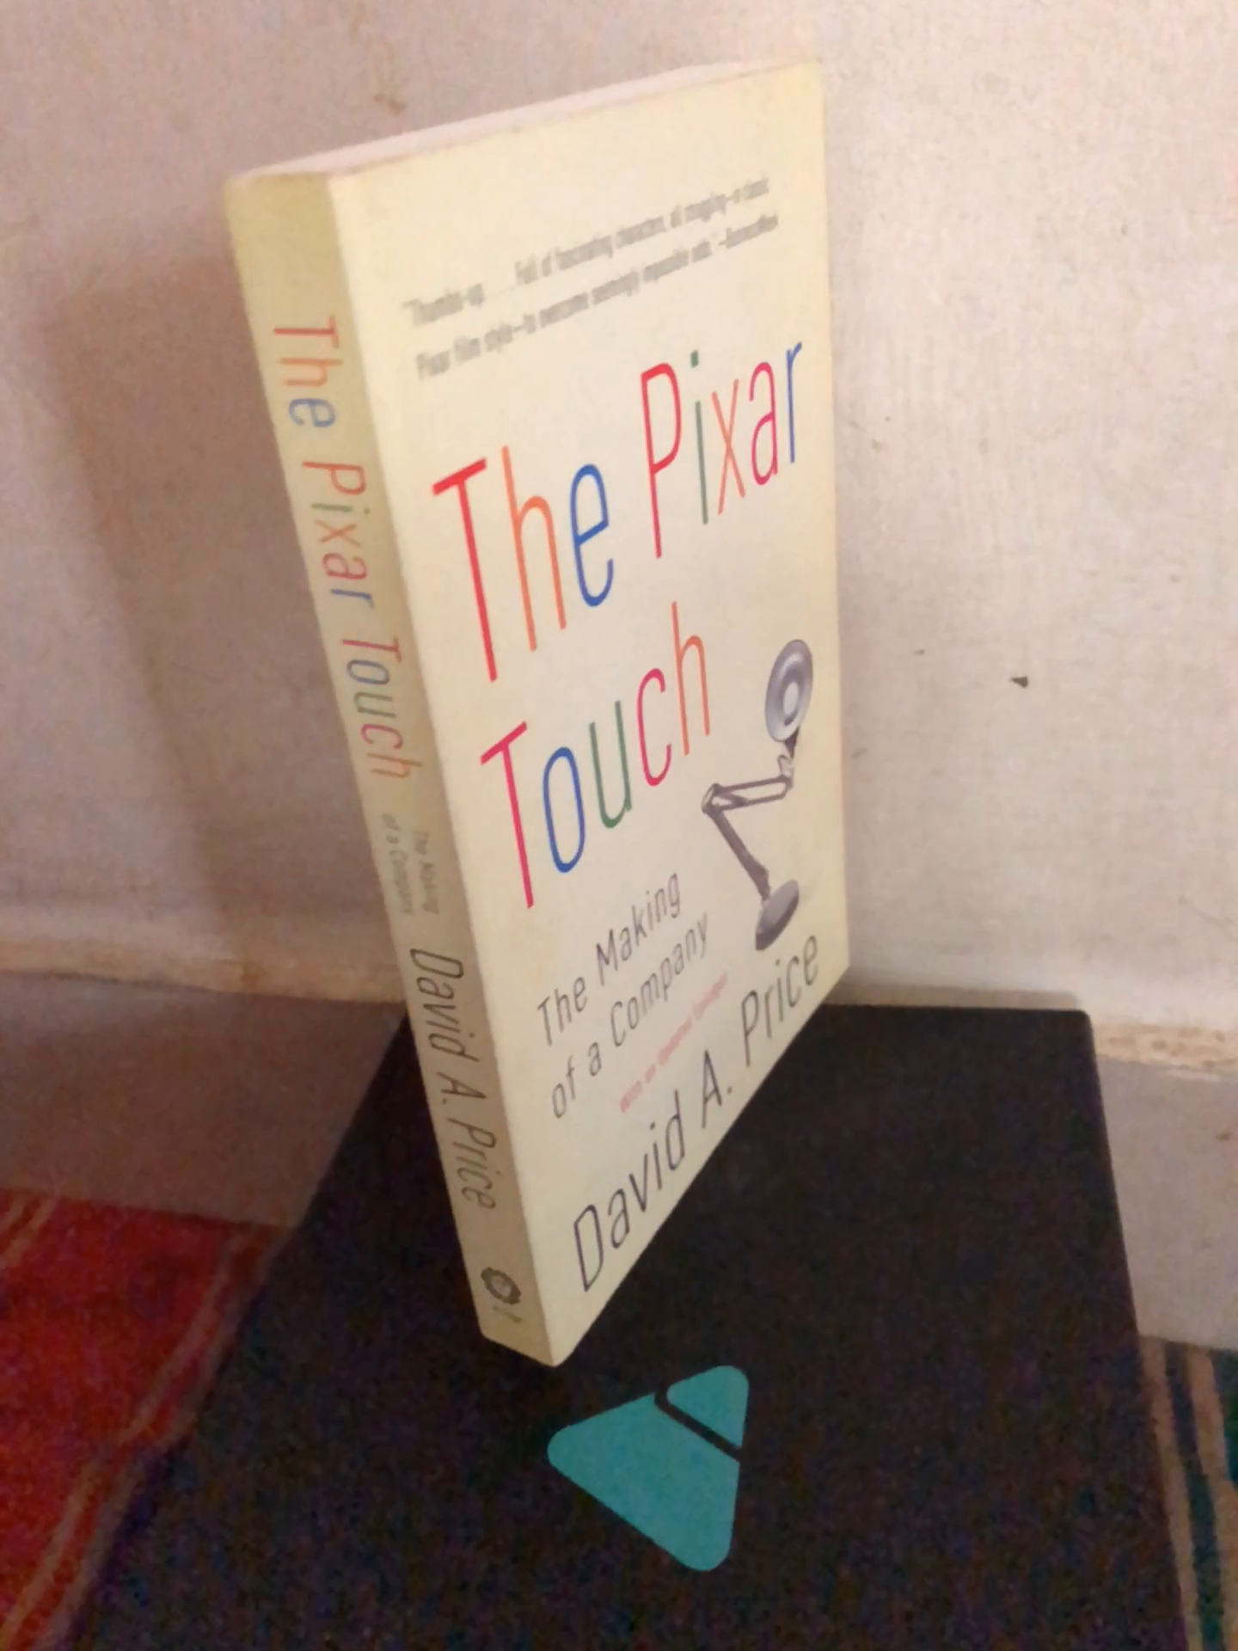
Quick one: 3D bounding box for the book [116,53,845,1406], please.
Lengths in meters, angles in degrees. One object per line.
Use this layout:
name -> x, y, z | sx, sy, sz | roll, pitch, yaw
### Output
book -> -0.001, -0.021, 0.251 | 0.030, 0.199, 0.141 | 12, 34, 28
